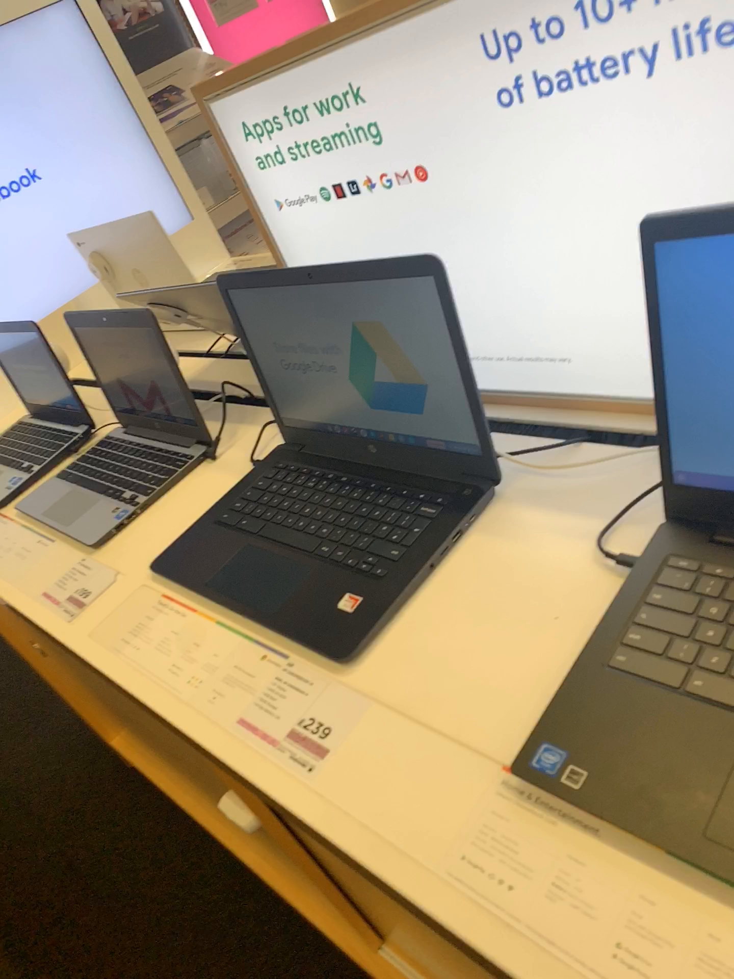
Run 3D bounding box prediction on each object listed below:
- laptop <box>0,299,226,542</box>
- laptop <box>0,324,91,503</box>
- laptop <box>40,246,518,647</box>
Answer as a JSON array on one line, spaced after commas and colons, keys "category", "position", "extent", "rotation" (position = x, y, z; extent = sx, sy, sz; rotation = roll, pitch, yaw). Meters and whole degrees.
[{"category": "laptop", "position": [-0.396, -0.108, 1.022], "extent": [0.272, 0.186, 0.242], "rotation": [11, 49, 45]}, {"category": "laptop", "position": [-0.662, -0.137, 1.268], "extent": [0.335, 0.189, 0.191], "rotation": [12, 50, 48]}, {"category": "laptop", "position": [-0.088, -0.058, 0.713], "extent": [0.333, 0.209, 0.245], "rotation": [12, 49, 47]}]
